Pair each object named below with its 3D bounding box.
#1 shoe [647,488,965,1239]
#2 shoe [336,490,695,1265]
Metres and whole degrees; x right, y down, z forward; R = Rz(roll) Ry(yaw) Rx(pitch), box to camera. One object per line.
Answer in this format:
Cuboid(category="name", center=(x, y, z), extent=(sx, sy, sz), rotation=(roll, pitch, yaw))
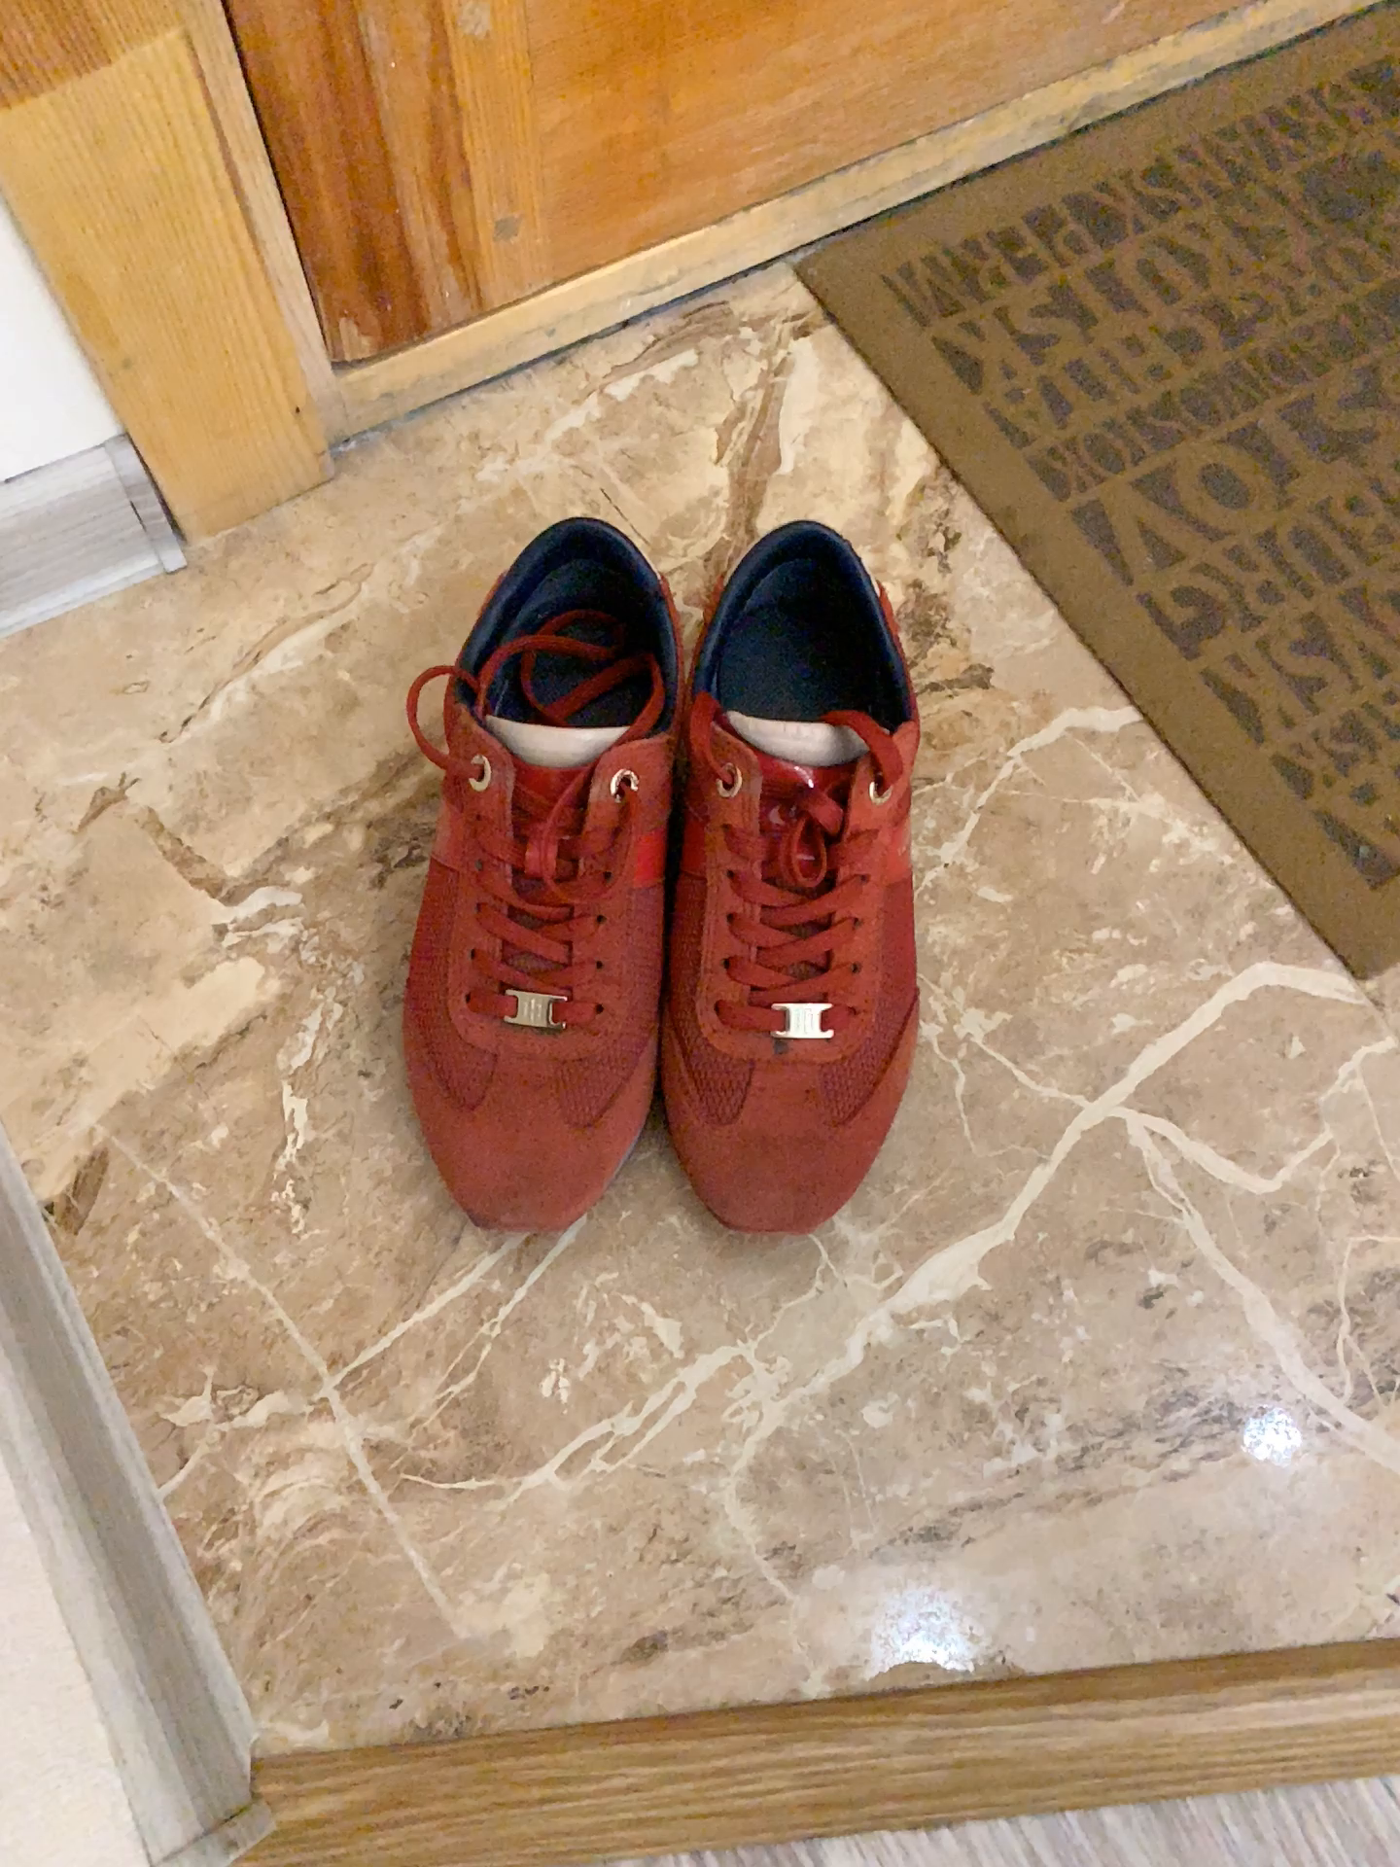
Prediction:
Cuboid(category="shoe", center=(0.030, -0.025, 0.492), extent=(0.090, 0.090, 0.240), rotation=(1, 68, -1))
Cuboid(category="shoe", center=(-0.052, -0.019, 0.481), extent=(0.090, 0.090, 0.240), rotation=(2, 68, 0))
